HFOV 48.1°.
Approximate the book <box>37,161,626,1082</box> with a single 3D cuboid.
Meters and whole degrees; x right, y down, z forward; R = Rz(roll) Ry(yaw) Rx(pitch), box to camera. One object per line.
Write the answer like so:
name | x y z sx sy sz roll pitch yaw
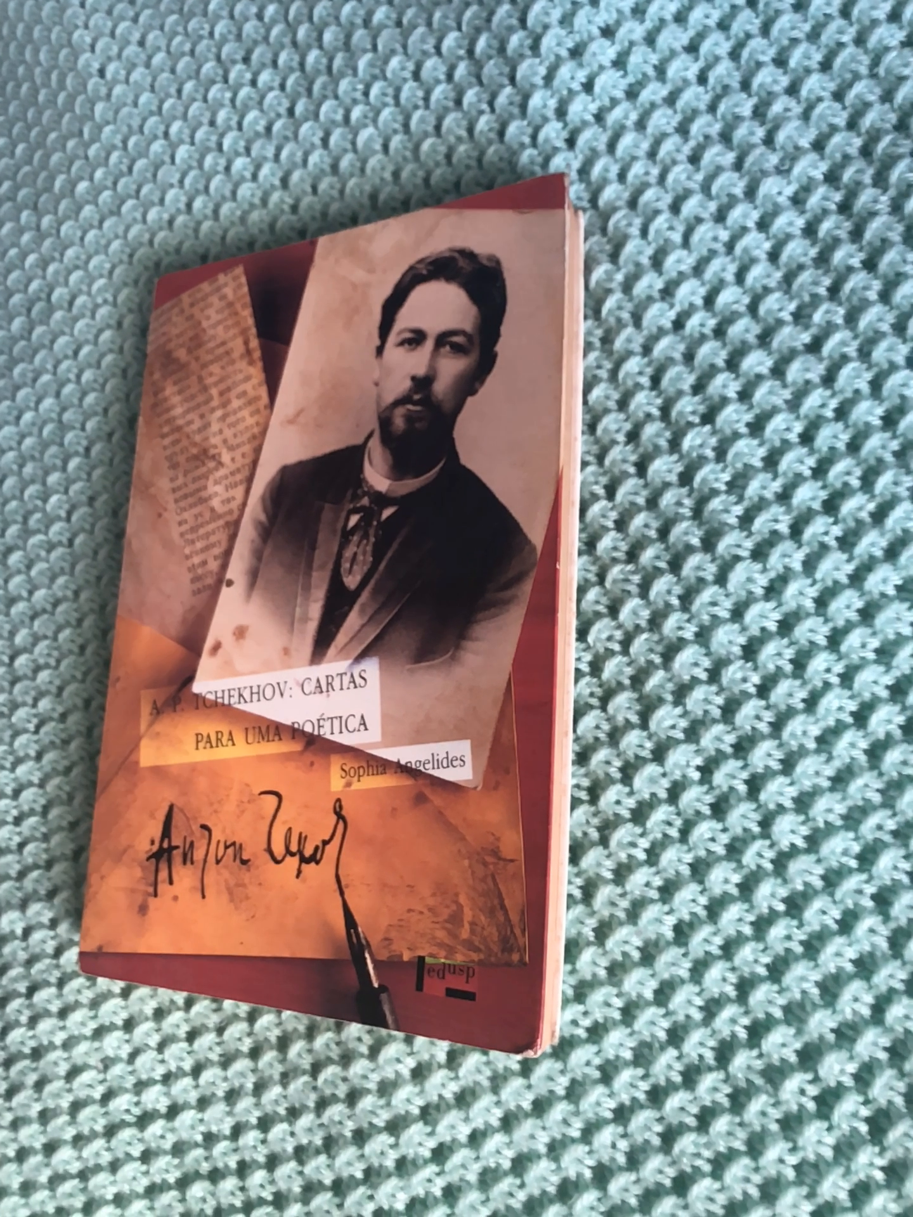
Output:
book | -0.033 0.000 0.273 0.150 0.030 0.210 -2 80 23
